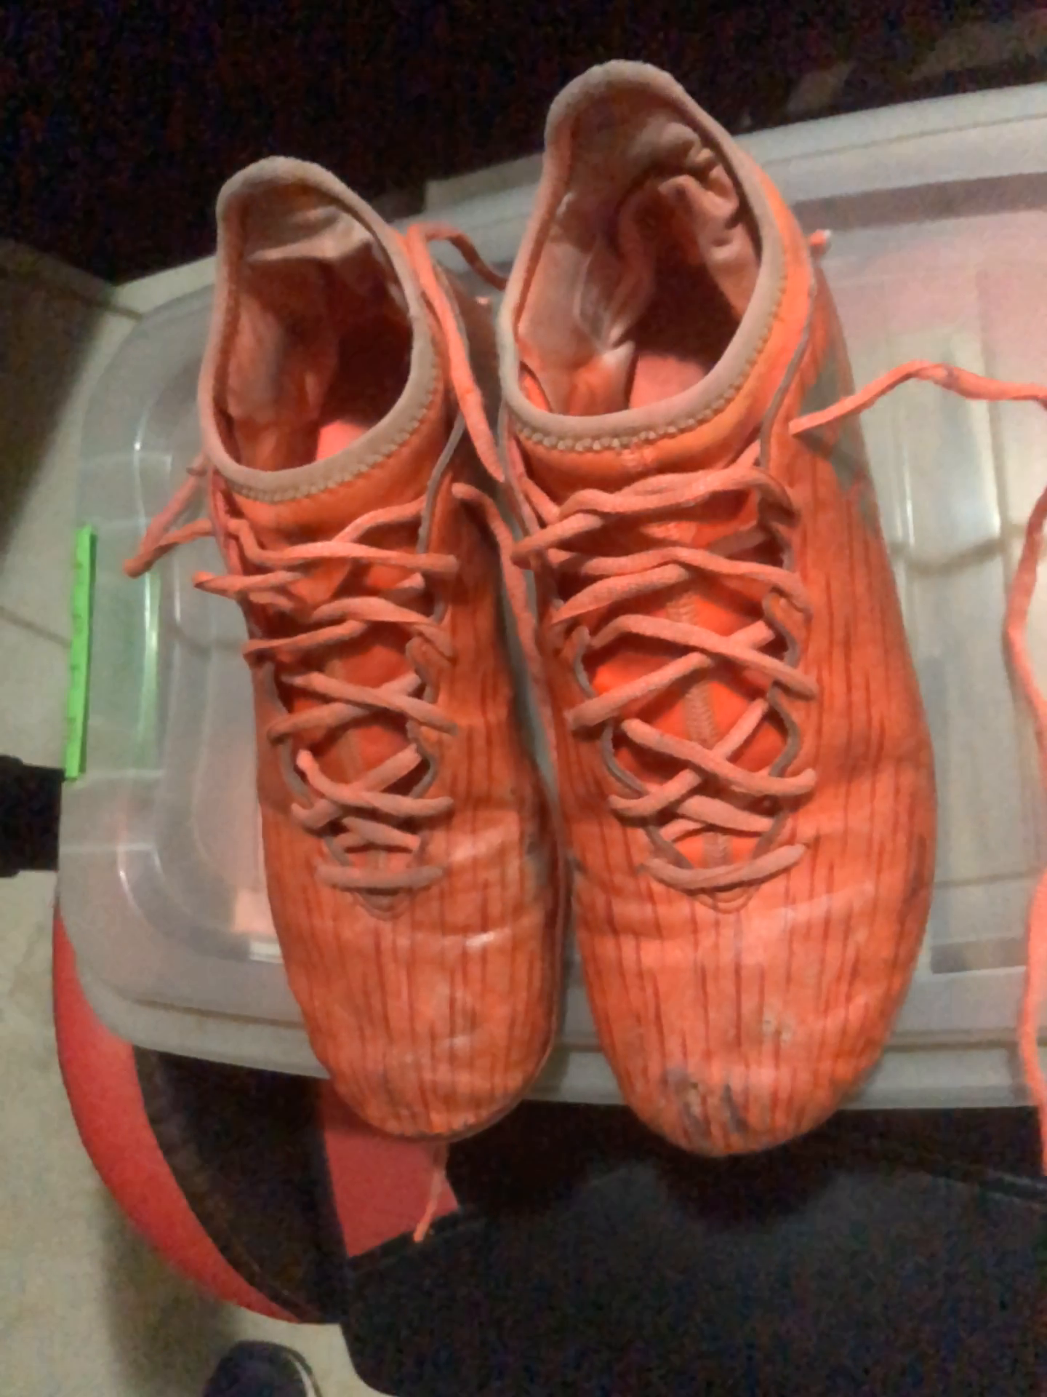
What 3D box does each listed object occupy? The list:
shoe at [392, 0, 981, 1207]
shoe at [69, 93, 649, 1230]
[{"bbox_3d":[0.045,-0.019,0.287,0.090,0.130,0.240,-9,79,20],"label":"shoe"},{"bbox_3d":[-0.039,-0.003,0.315,0.090,0.130,0.240,-9,79,20],"label":"shoe"}]
